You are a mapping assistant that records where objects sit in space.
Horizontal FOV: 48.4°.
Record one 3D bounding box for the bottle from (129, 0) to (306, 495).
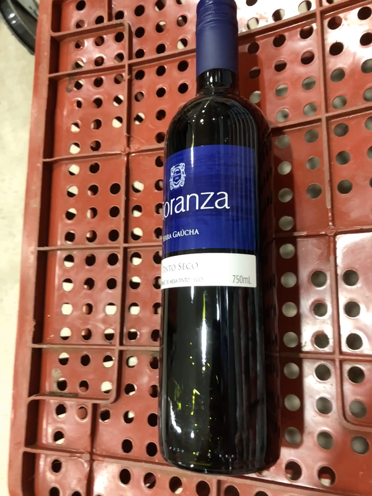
[{"bbox_3d":[0.015,-0.029,0.261,0.080,0.060,0.300,-10,76,44],"label":"bottle"}]
